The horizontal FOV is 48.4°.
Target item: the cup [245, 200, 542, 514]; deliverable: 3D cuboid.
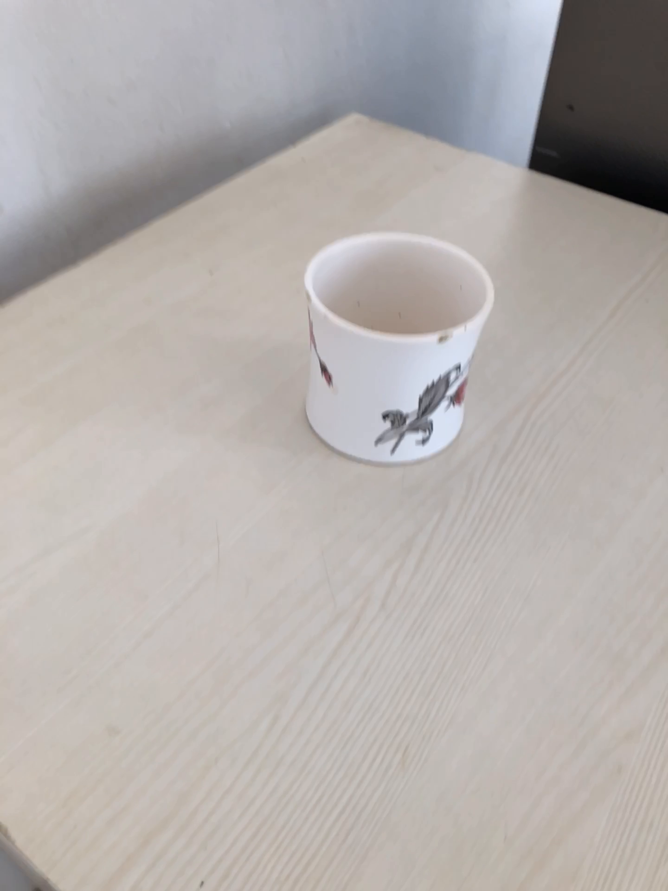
[{"bbox_3d":[0.024,-0.040,0.308,0.080,0.070,0.091,25,49,21],"label":"cup"}]
